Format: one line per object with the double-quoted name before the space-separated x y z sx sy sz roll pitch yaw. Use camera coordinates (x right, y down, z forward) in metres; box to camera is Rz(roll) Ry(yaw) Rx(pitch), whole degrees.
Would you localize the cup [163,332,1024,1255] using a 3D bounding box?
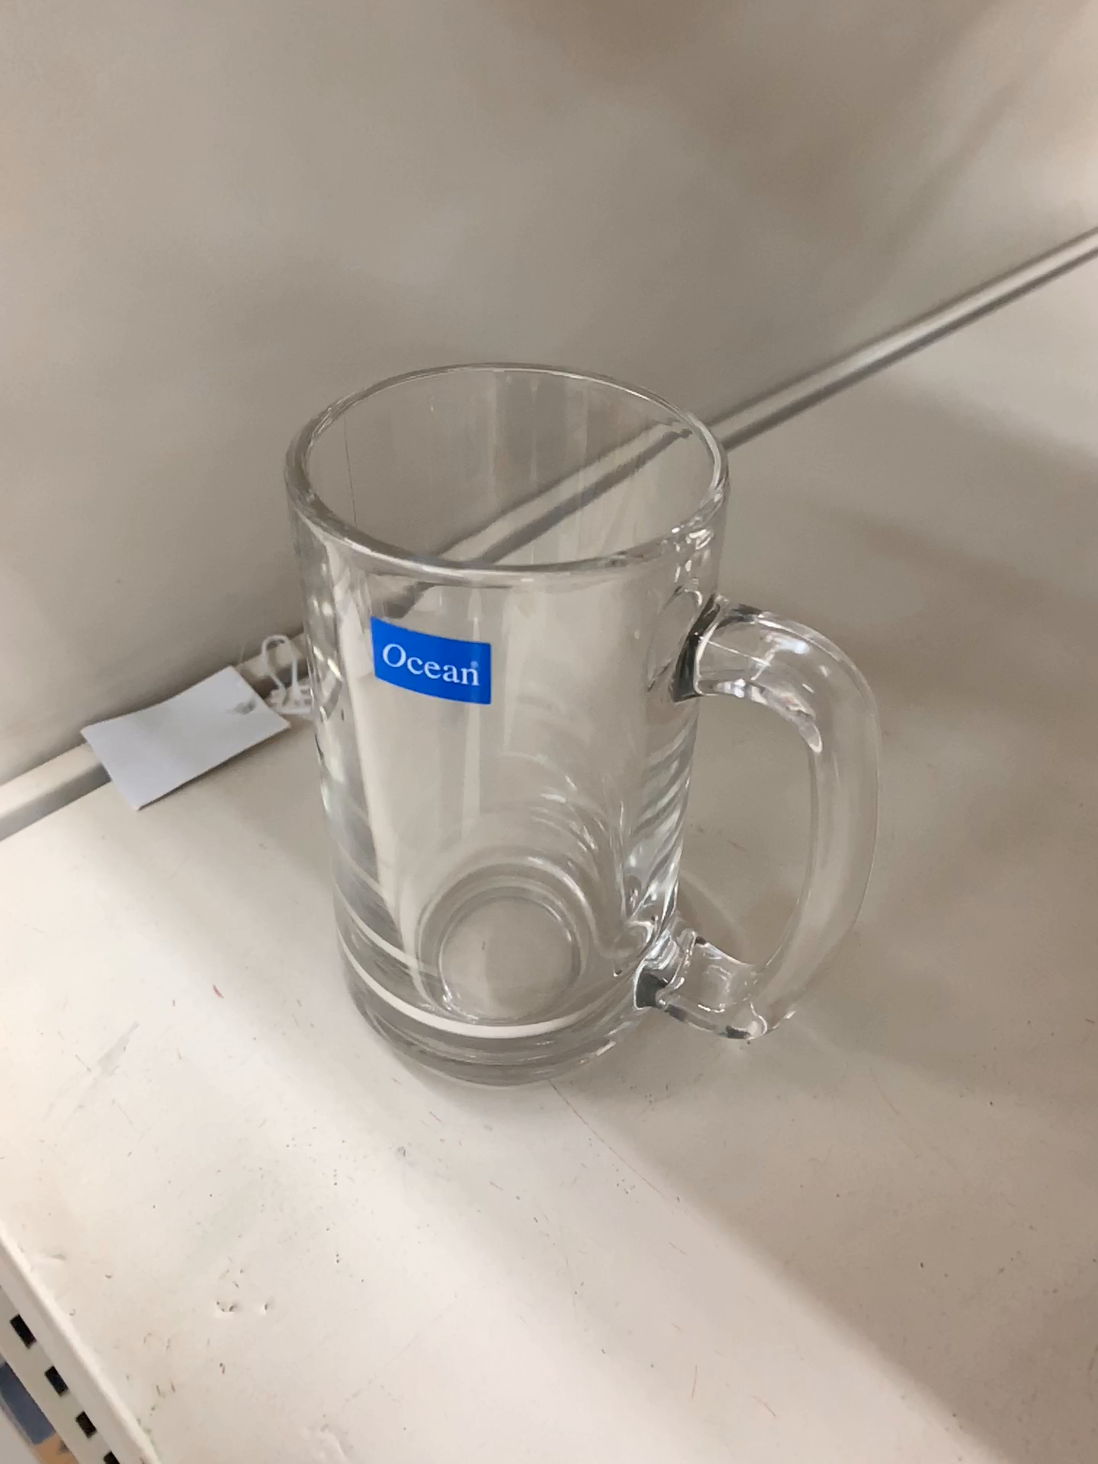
"cup" 0.008 0.010 0.218 0.111 0.127 0.076 19 43 20
